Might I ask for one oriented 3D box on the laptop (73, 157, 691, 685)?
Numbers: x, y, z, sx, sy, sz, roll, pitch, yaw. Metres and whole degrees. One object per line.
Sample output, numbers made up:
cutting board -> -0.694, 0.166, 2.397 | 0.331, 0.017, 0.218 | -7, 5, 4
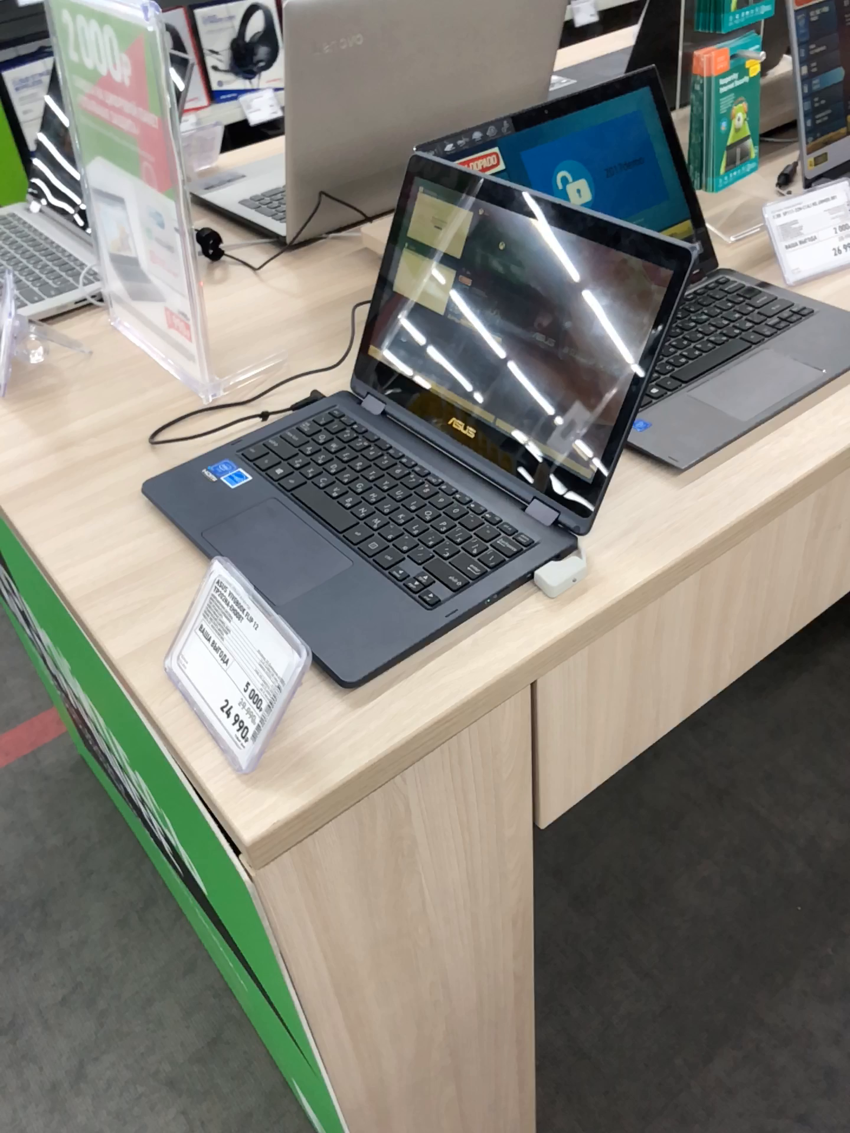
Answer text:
laptop -> -0.027, -0.124, 0.638 | 0.280, 0.166, 0.270 | -31, 48, -25

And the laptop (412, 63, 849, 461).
laptop -> 0.193, -0.271, 0.774 | 0.262, 0.162, 0.299 | -30, 47, -24
